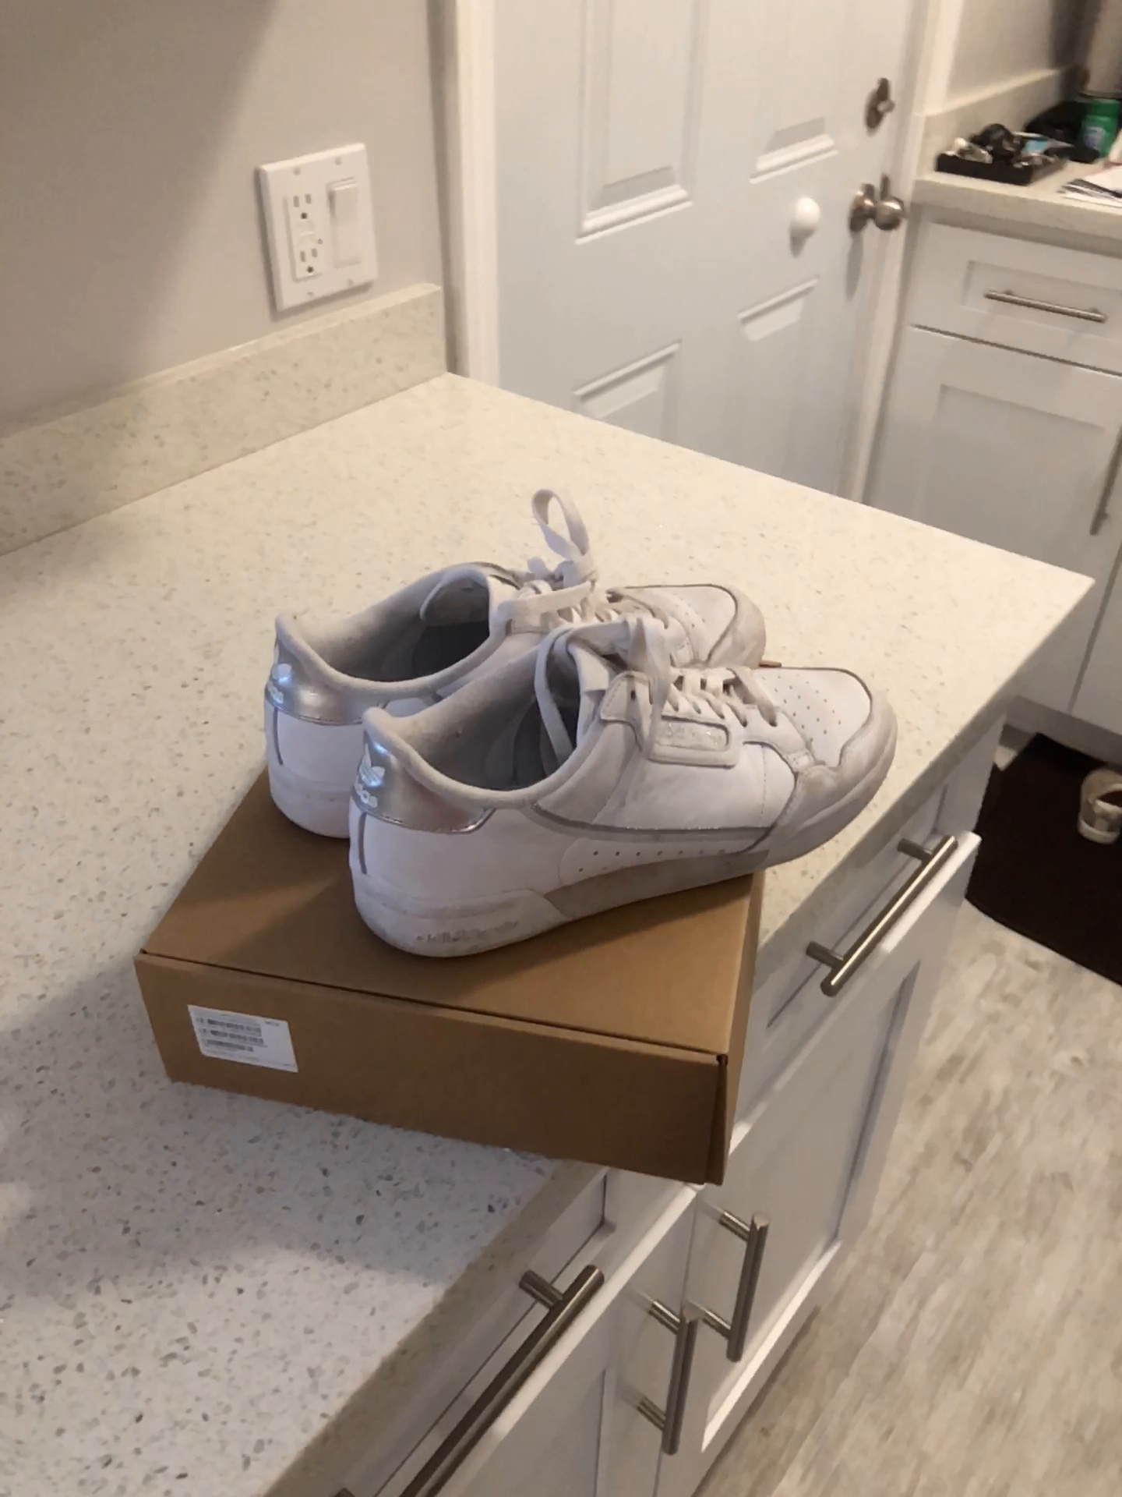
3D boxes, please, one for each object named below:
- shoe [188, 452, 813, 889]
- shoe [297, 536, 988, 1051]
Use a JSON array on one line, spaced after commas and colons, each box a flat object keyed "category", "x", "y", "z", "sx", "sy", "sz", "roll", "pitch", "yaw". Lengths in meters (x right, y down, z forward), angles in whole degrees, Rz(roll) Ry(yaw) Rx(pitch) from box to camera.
[{"category": "shoe", "x": -0.023, "y": -0.049, "z": 0.595, "sx": 0.268, "sy": 0.100, "sz": 0.108, "roll": -20, "pitch": 42, "yaw": -25}, {"category": "shoe", "x": 0.038, "y": 0.006, "z": 0.533, "sx": 0.268, "sy": 0.100, "sz": 0.108, "roll": -20, "pitch": 42, "yaw": -25}]
